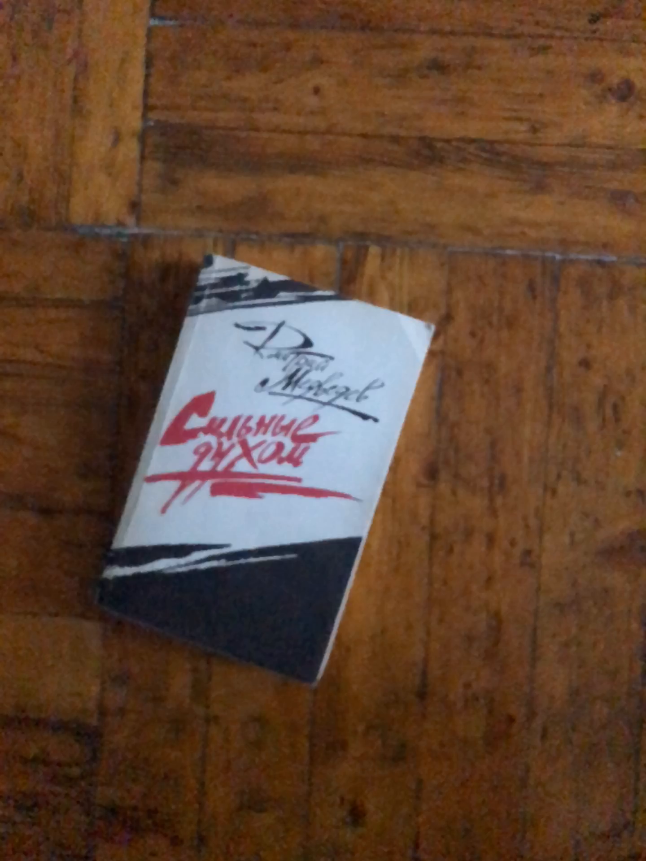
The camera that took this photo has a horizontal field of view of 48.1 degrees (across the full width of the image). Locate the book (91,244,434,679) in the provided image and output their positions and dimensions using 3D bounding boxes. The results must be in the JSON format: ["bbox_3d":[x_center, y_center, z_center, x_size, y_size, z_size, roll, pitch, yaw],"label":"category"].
[{"bbox_3d":[-0.033,0.016,0.422,0.140,0.050,0.210,15,90,3],"label":"book"}]
